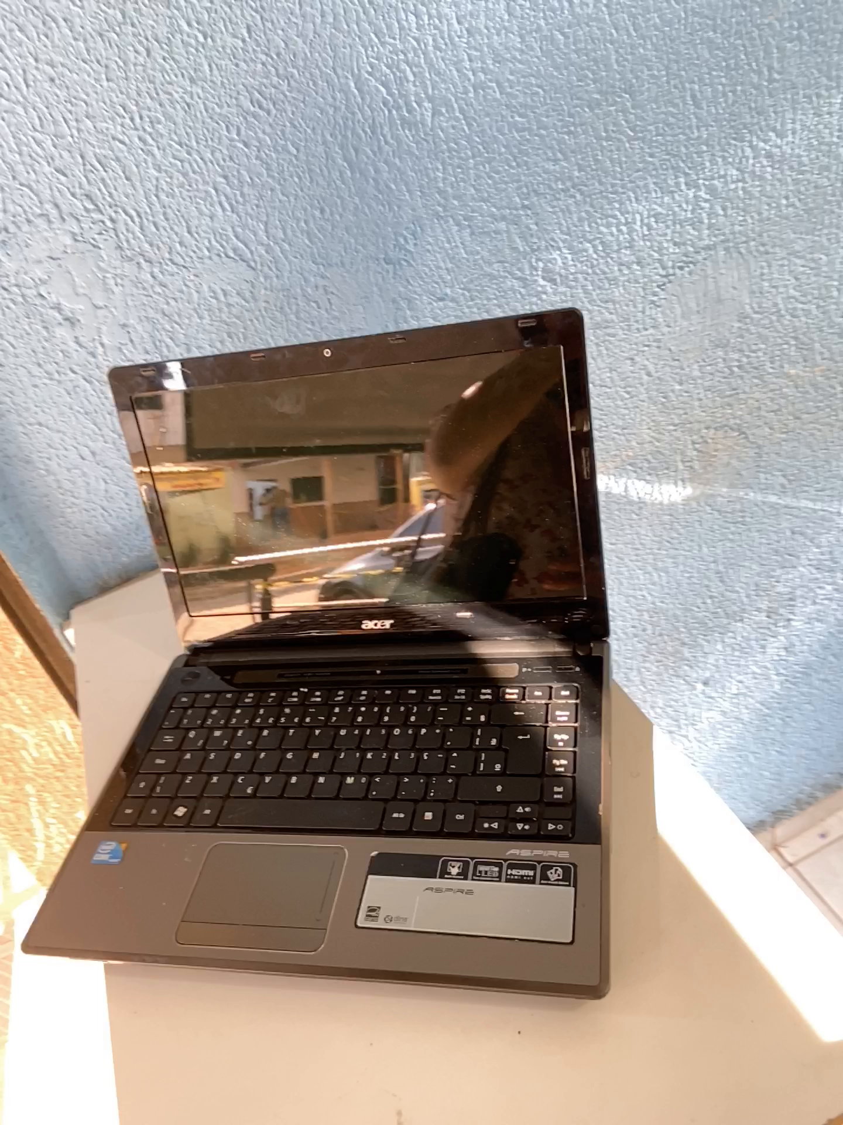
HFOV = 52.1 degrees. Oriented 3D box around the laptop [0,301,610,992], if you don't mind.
[{"bbox_3d":[-0.068,0.033,0.519,0.336,0.207,0.320,-4,39,16],"label":"laptop"}]
